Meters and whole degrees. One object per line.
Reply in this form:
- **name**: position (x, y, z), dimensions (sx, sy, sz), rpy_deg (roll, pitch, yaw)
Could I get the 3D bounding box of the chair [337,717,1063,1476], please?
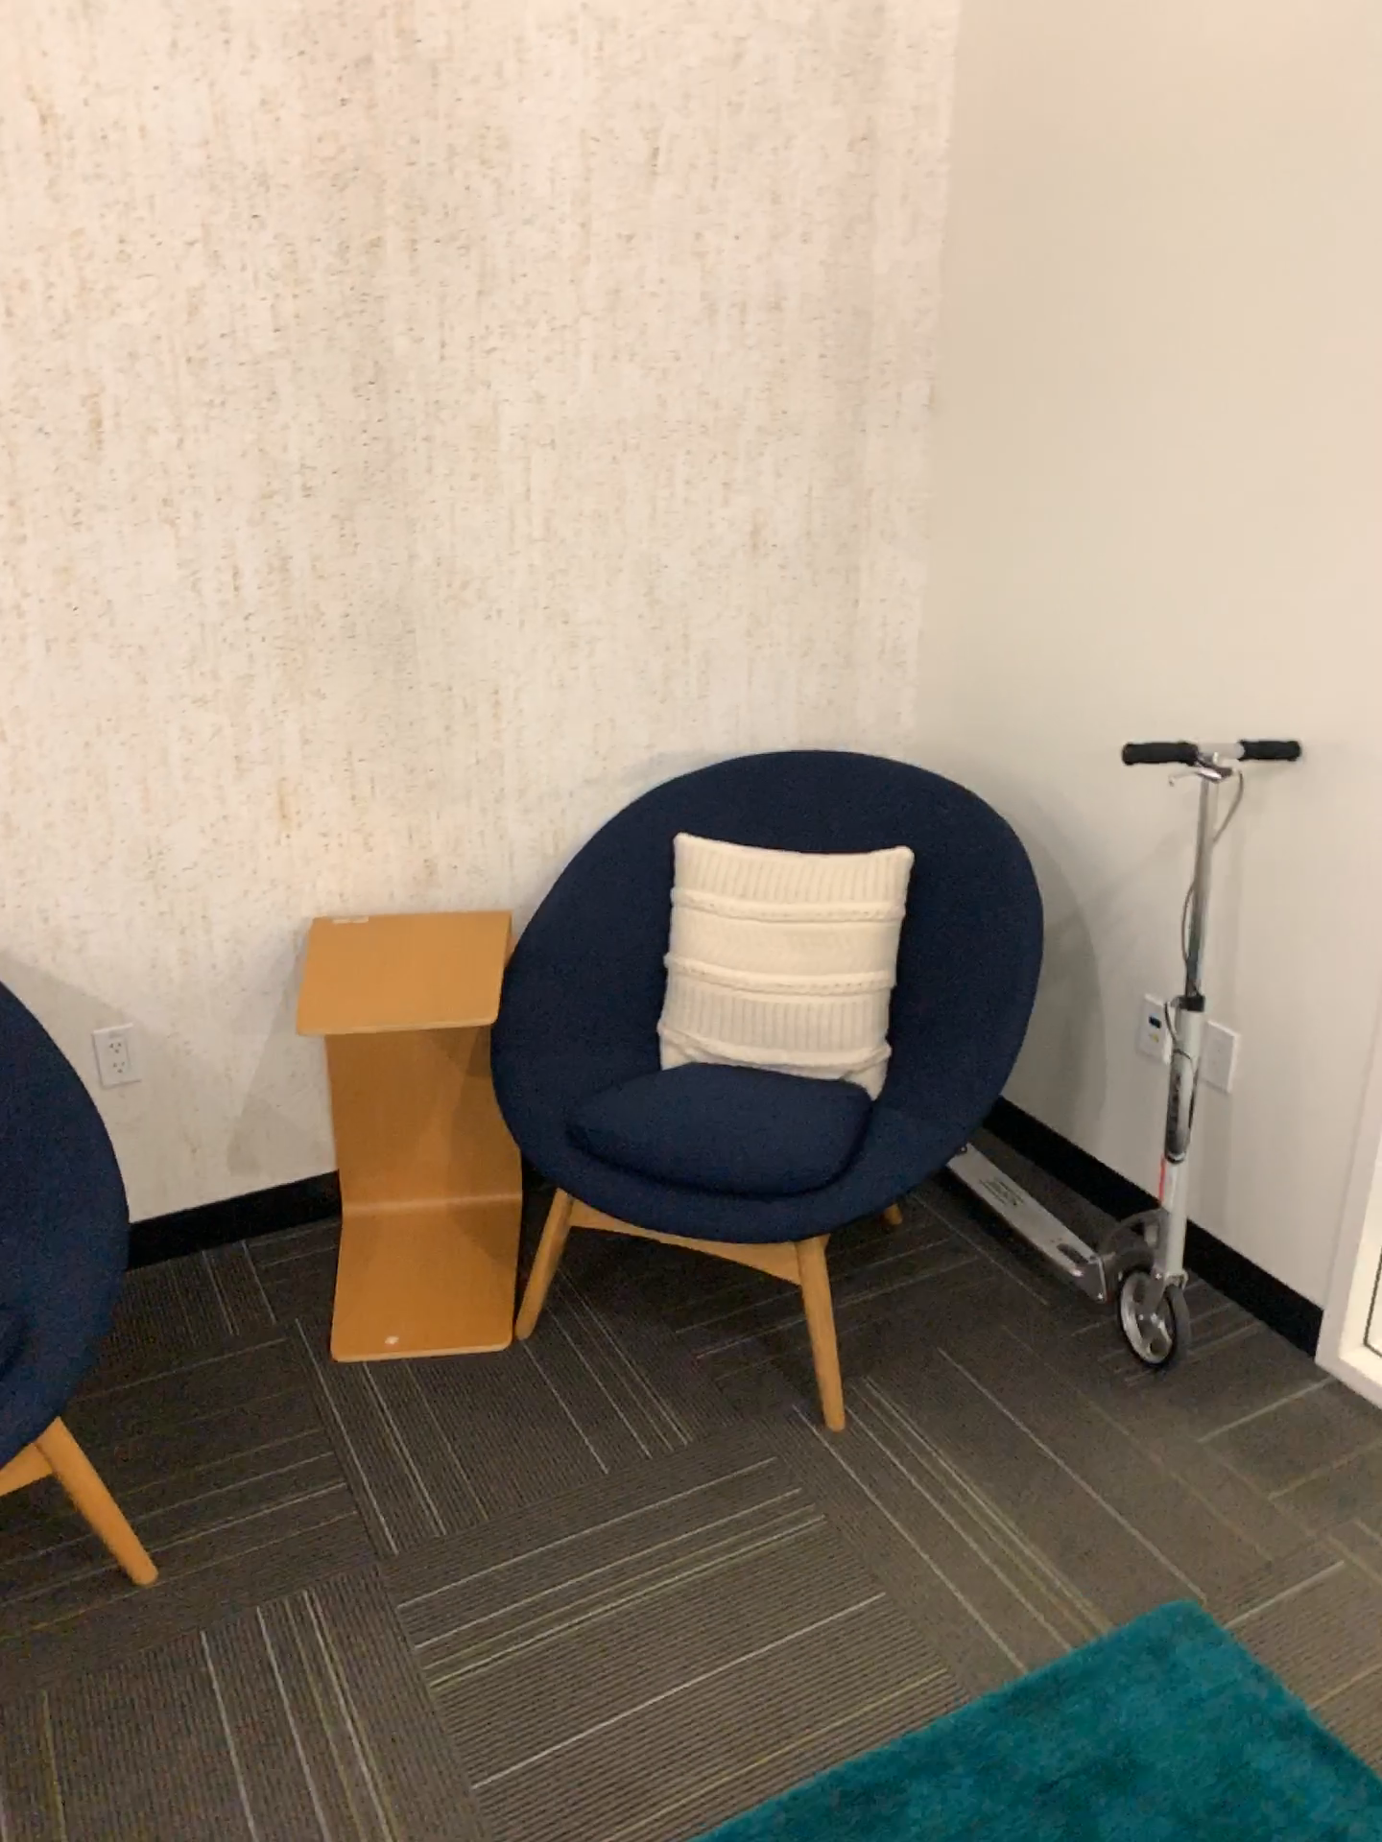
- **chair**: position (0.074, 0.190, 2.378), dimensions (0.891, 0.816, 0.883), rpy_deg (8, 23, 20)
